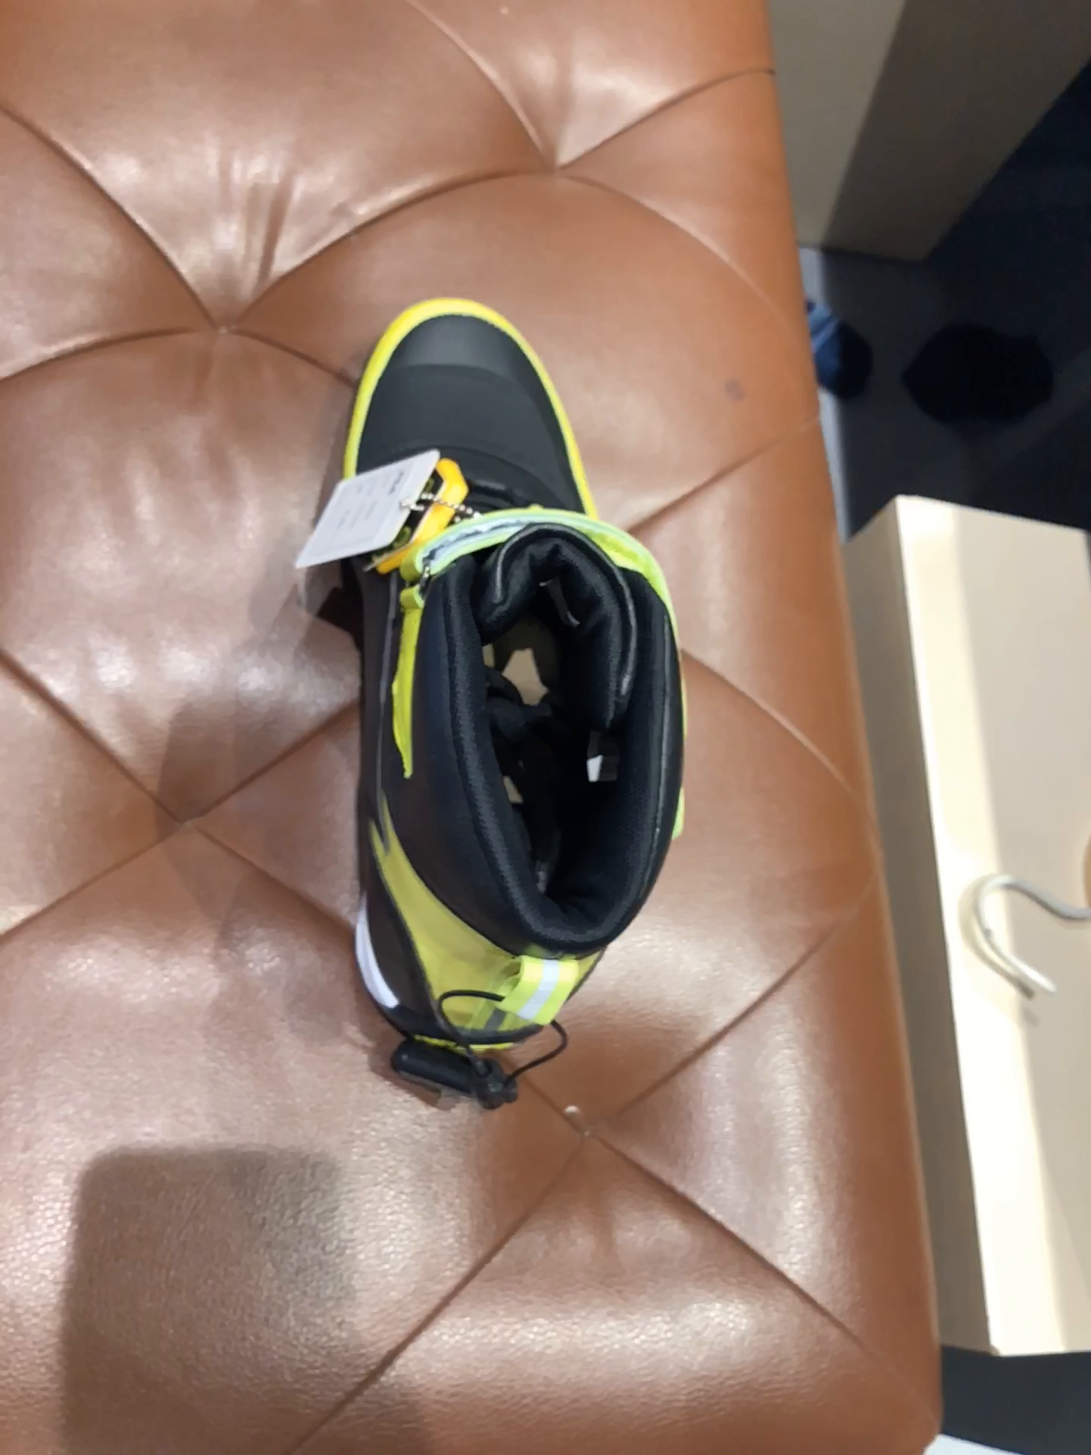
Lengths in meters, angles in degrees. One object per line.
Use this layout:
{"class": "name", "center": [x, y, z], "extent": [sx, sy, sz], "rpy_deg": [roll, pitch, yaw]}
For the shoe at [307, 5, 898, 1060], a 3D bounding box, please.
{"class": "shoe", "center": [-0.007, -0.046, 0.394], "extent": [0.116, 0.172, 0.274], "rpy_deg": [2, 69, -17]}
